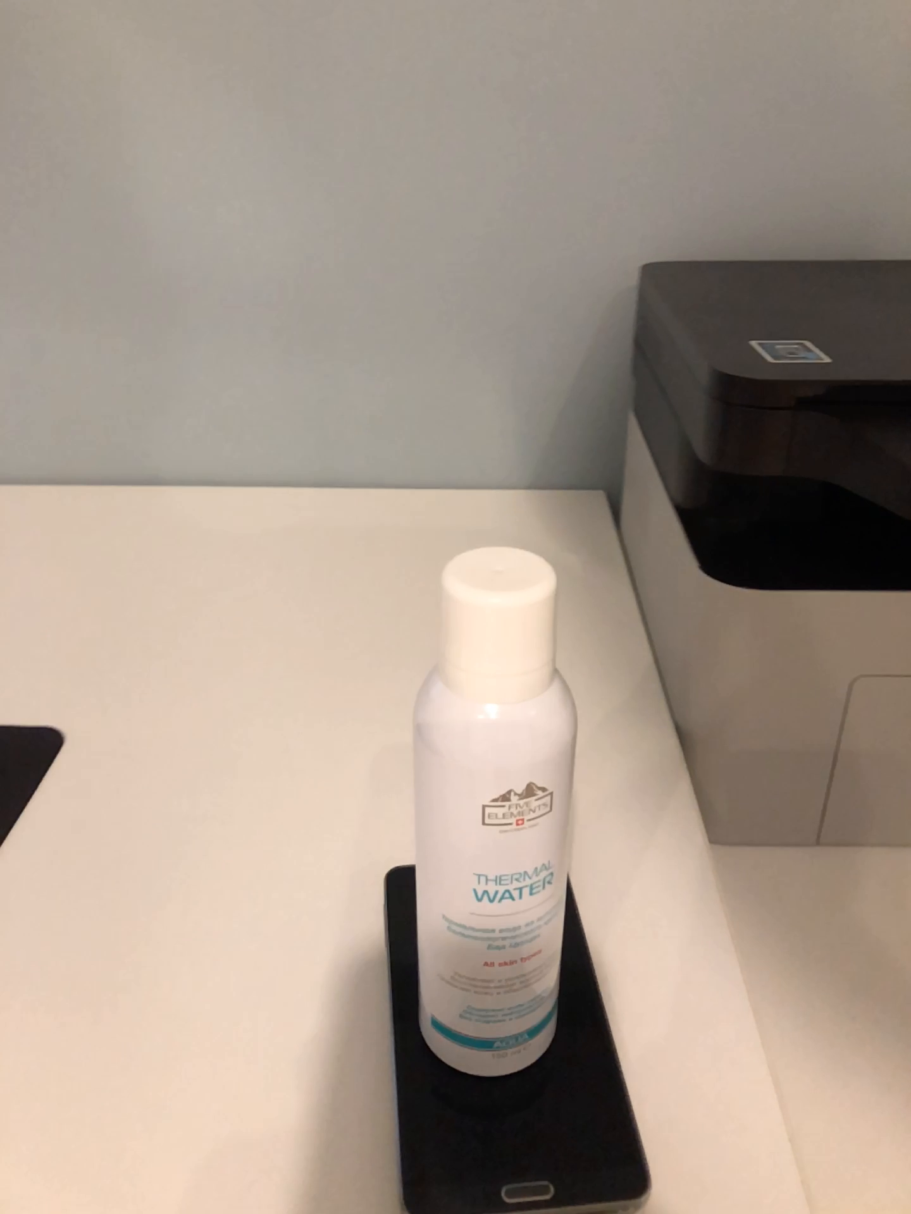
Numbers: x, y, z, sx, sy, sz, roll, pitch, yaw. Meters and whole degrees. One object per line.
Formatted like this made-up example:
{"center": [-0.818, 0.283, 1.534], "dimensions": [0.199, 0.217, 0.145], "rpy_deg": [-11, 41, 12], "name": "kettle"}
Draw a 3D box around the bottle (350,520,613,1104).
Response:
{"center": [0.005, 0.068, 0.321], "dimensions": [0.054, 0.175, 0.059], "rpy_deg": [-12, 31, -20], "name": "bottle"}
